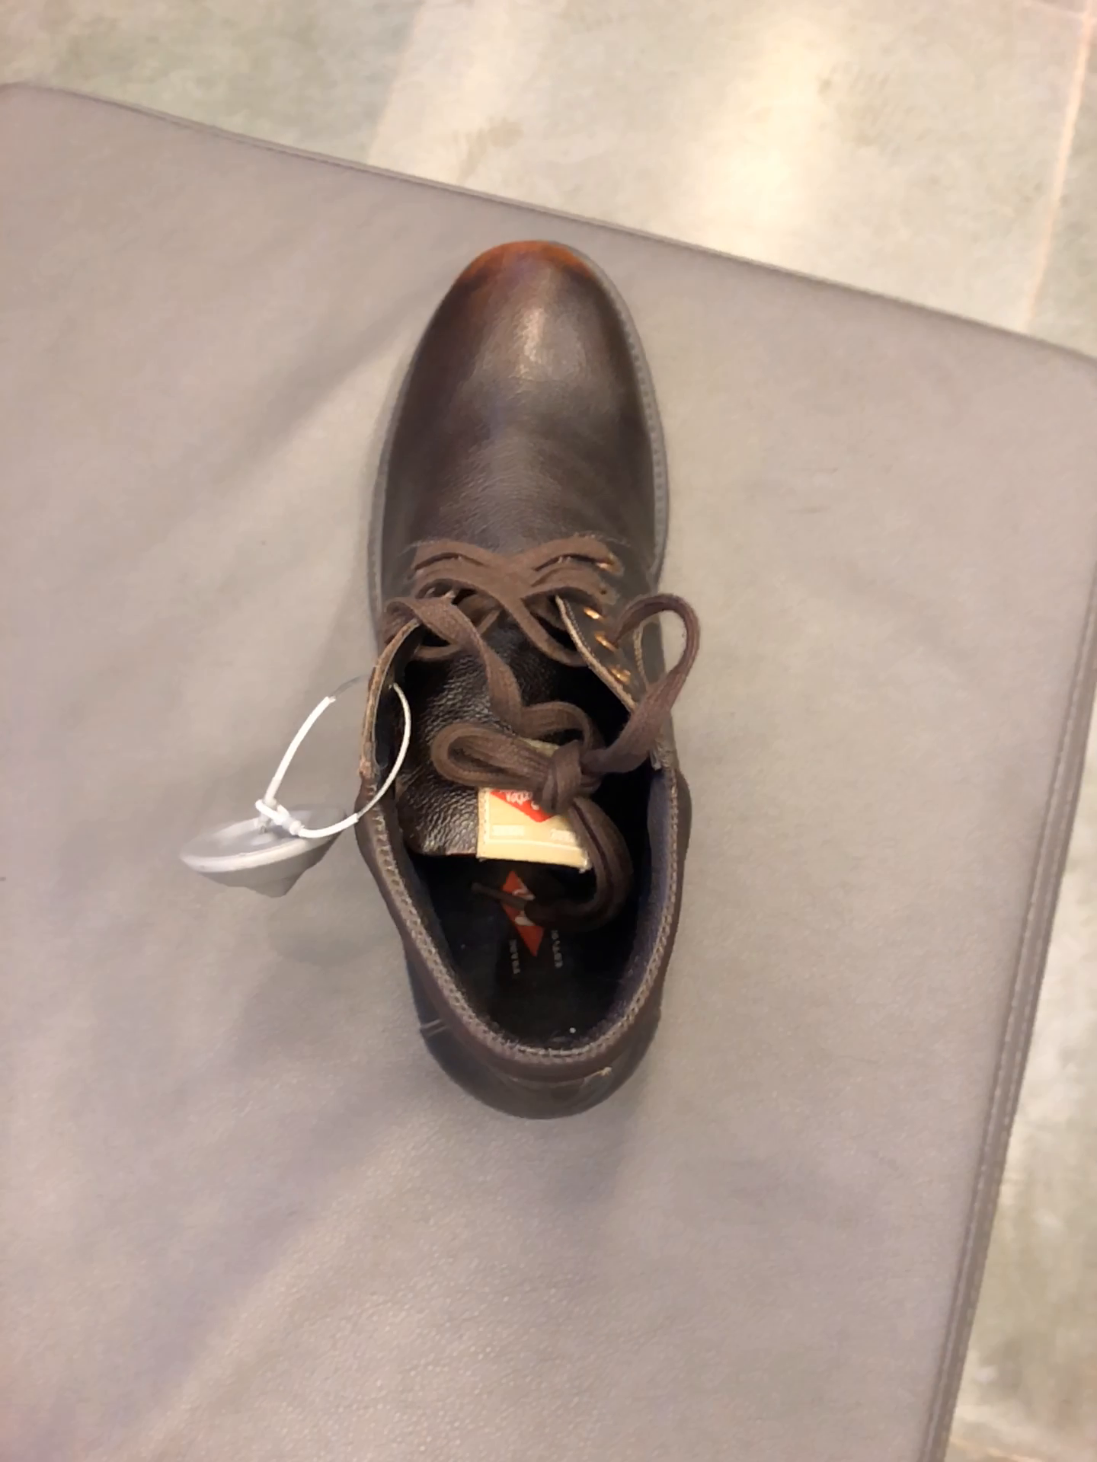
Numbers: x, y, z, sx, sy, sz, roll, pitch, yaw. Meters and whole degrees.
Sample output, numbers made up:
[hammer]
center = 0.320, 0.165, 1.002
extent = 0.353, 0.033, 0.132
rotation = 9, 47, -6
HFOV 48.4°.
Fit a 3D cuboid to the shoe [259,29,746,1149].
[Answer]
[shoe]
center = -0.012, -0.031, 0.394
extent = 0.108, 0.178, 0.299
rotation = -1, 75, 1
